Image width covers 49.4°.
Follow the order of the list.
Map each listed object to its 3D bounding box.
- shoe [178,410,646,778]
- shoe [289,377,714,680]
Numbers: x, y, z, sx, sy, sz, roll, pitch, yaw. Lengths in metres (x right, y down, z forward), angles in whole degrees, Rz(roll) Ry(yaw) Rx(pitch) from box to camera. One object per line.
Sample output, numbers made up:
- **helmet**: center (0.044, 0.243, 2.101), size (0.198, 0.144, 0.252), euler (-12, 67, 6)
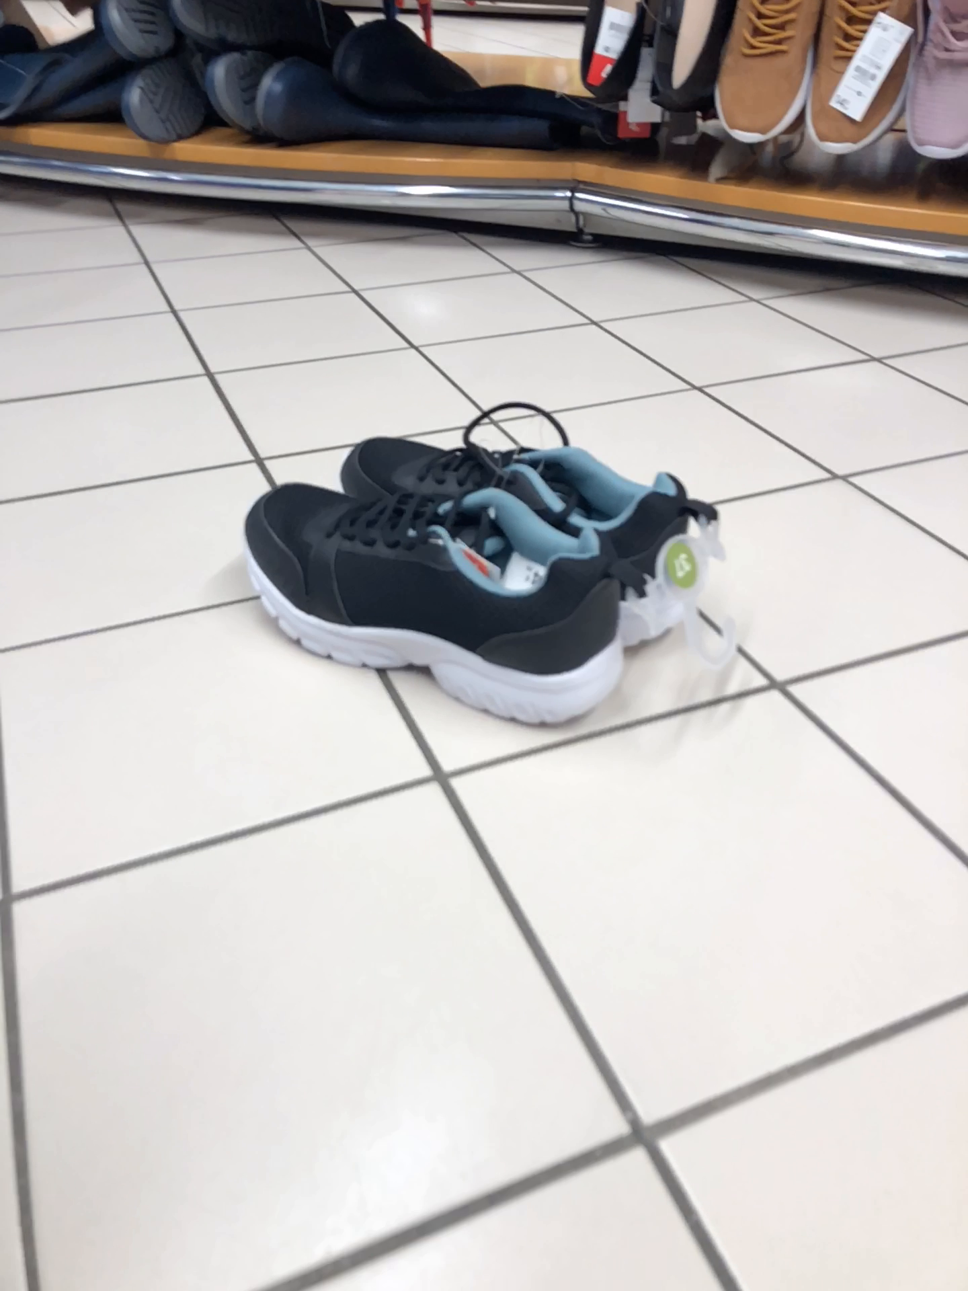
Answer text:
- **shoe**: center (-0.043, -0.040, 0.597), size (0.240, 0.109, 0.101), euler (21, 40, 27)
- **shoe**: center (0.005, -0.083, 0.658), size (0.240, 0.099, 0.101), euler (21, 36, 27)
